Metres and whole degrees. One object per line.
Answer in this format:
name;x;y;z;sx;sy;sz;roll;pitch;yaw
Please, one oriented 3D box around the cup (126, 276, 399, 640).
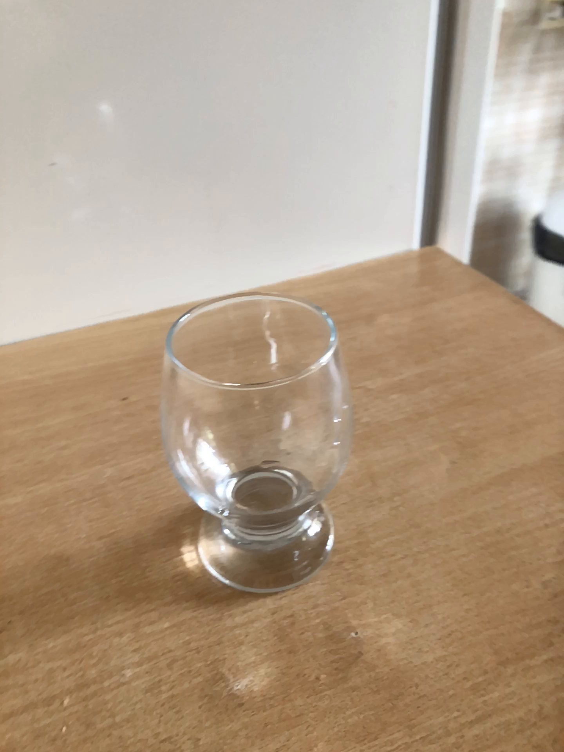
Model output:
cup;-0.008;0.030;0.257;0.074;0.105;0.077;-2;35;1
